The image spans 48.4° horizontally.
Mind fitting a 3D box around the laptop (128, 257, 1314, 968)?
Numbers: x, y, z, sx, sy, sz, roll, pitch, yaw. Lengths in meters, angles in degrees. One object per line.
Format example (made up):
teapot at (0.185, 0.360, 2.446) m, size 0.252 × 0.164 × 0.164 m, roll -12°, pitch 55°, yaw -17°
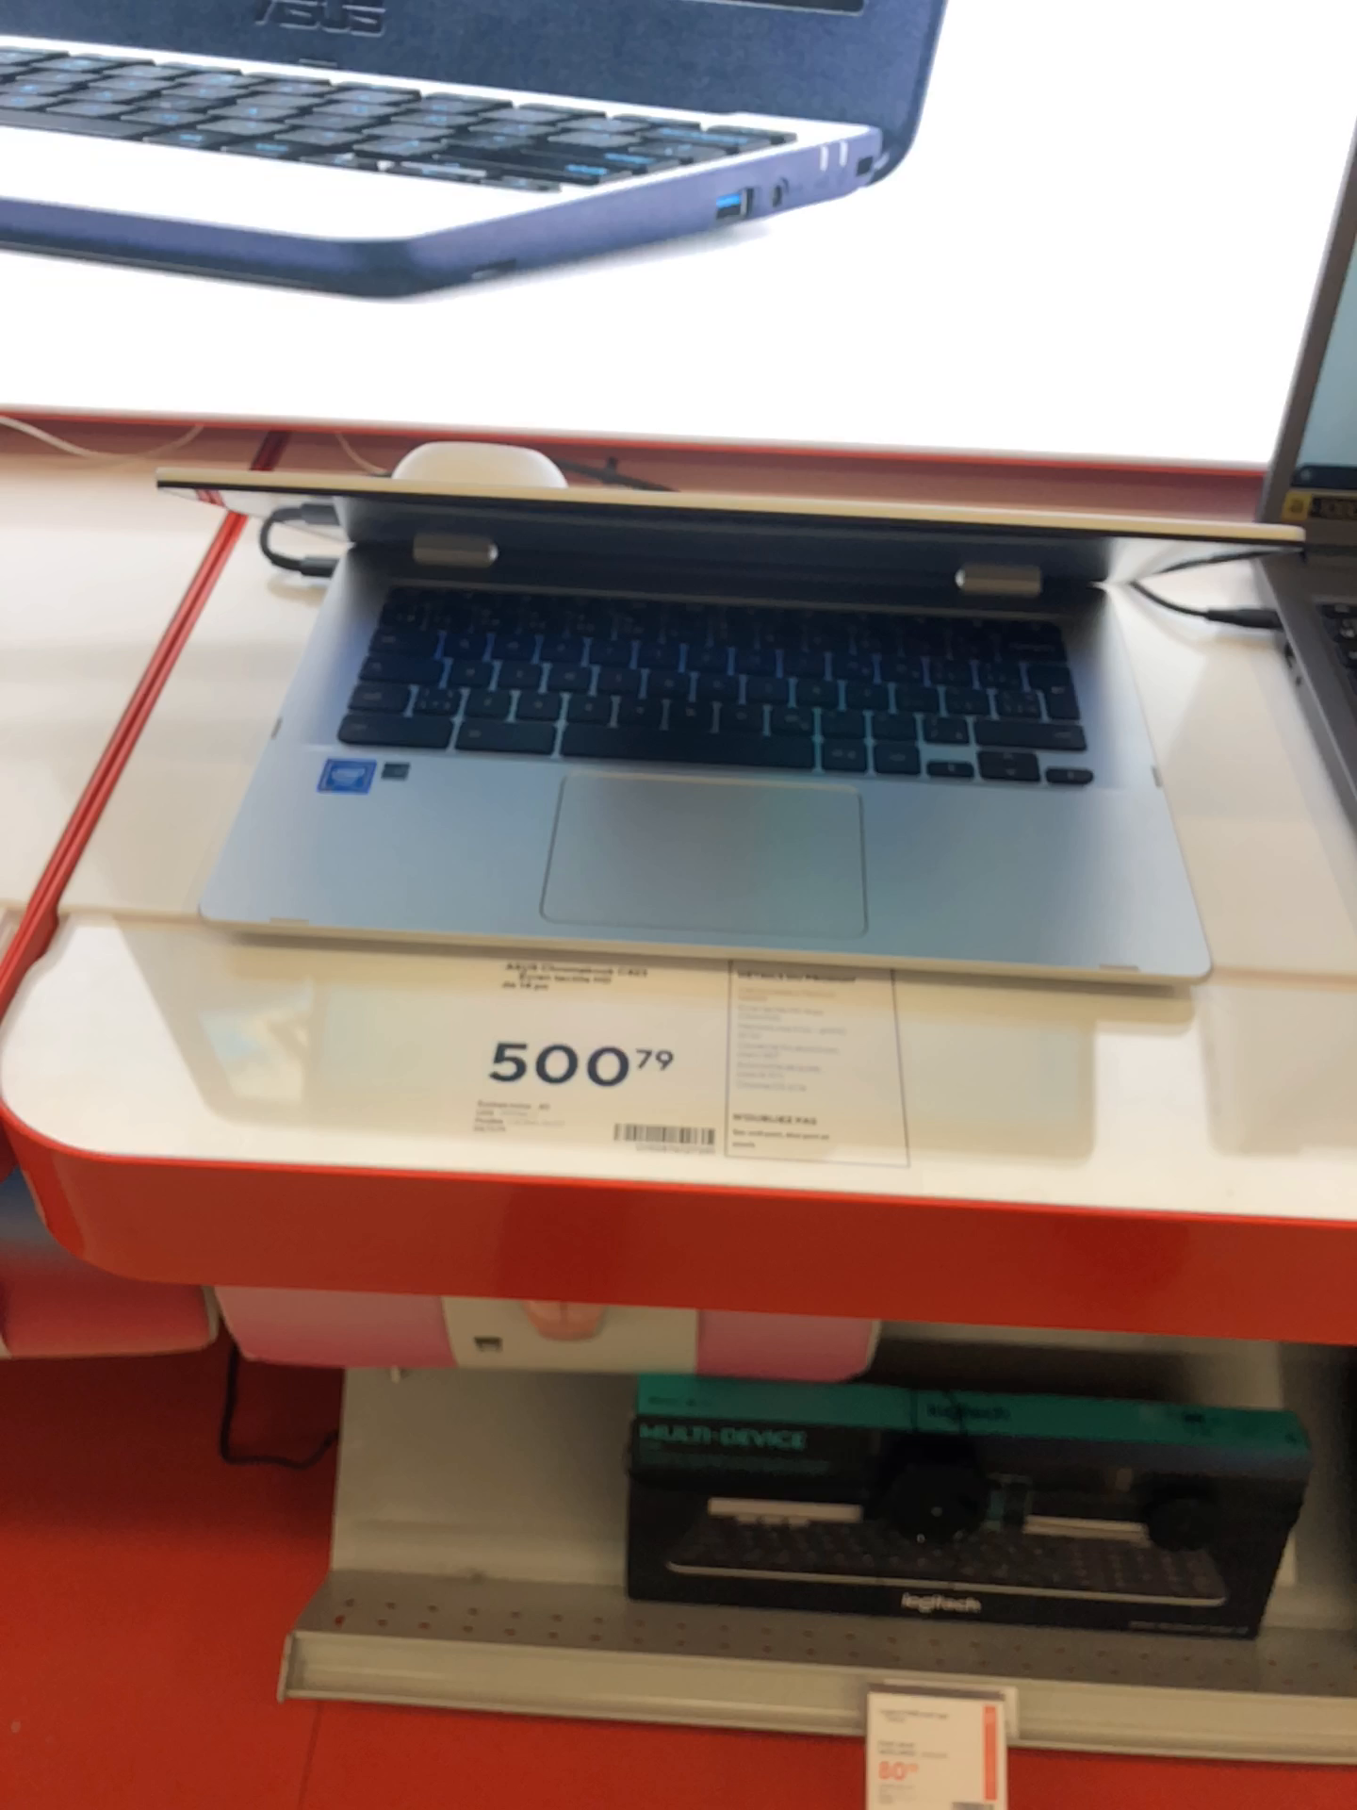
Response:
laptop at (0.016, -0.108, 0.512) m, size 0.311 × 0.119 × 0.214 m, roll 3°, pitch 44°, yaw 0°
